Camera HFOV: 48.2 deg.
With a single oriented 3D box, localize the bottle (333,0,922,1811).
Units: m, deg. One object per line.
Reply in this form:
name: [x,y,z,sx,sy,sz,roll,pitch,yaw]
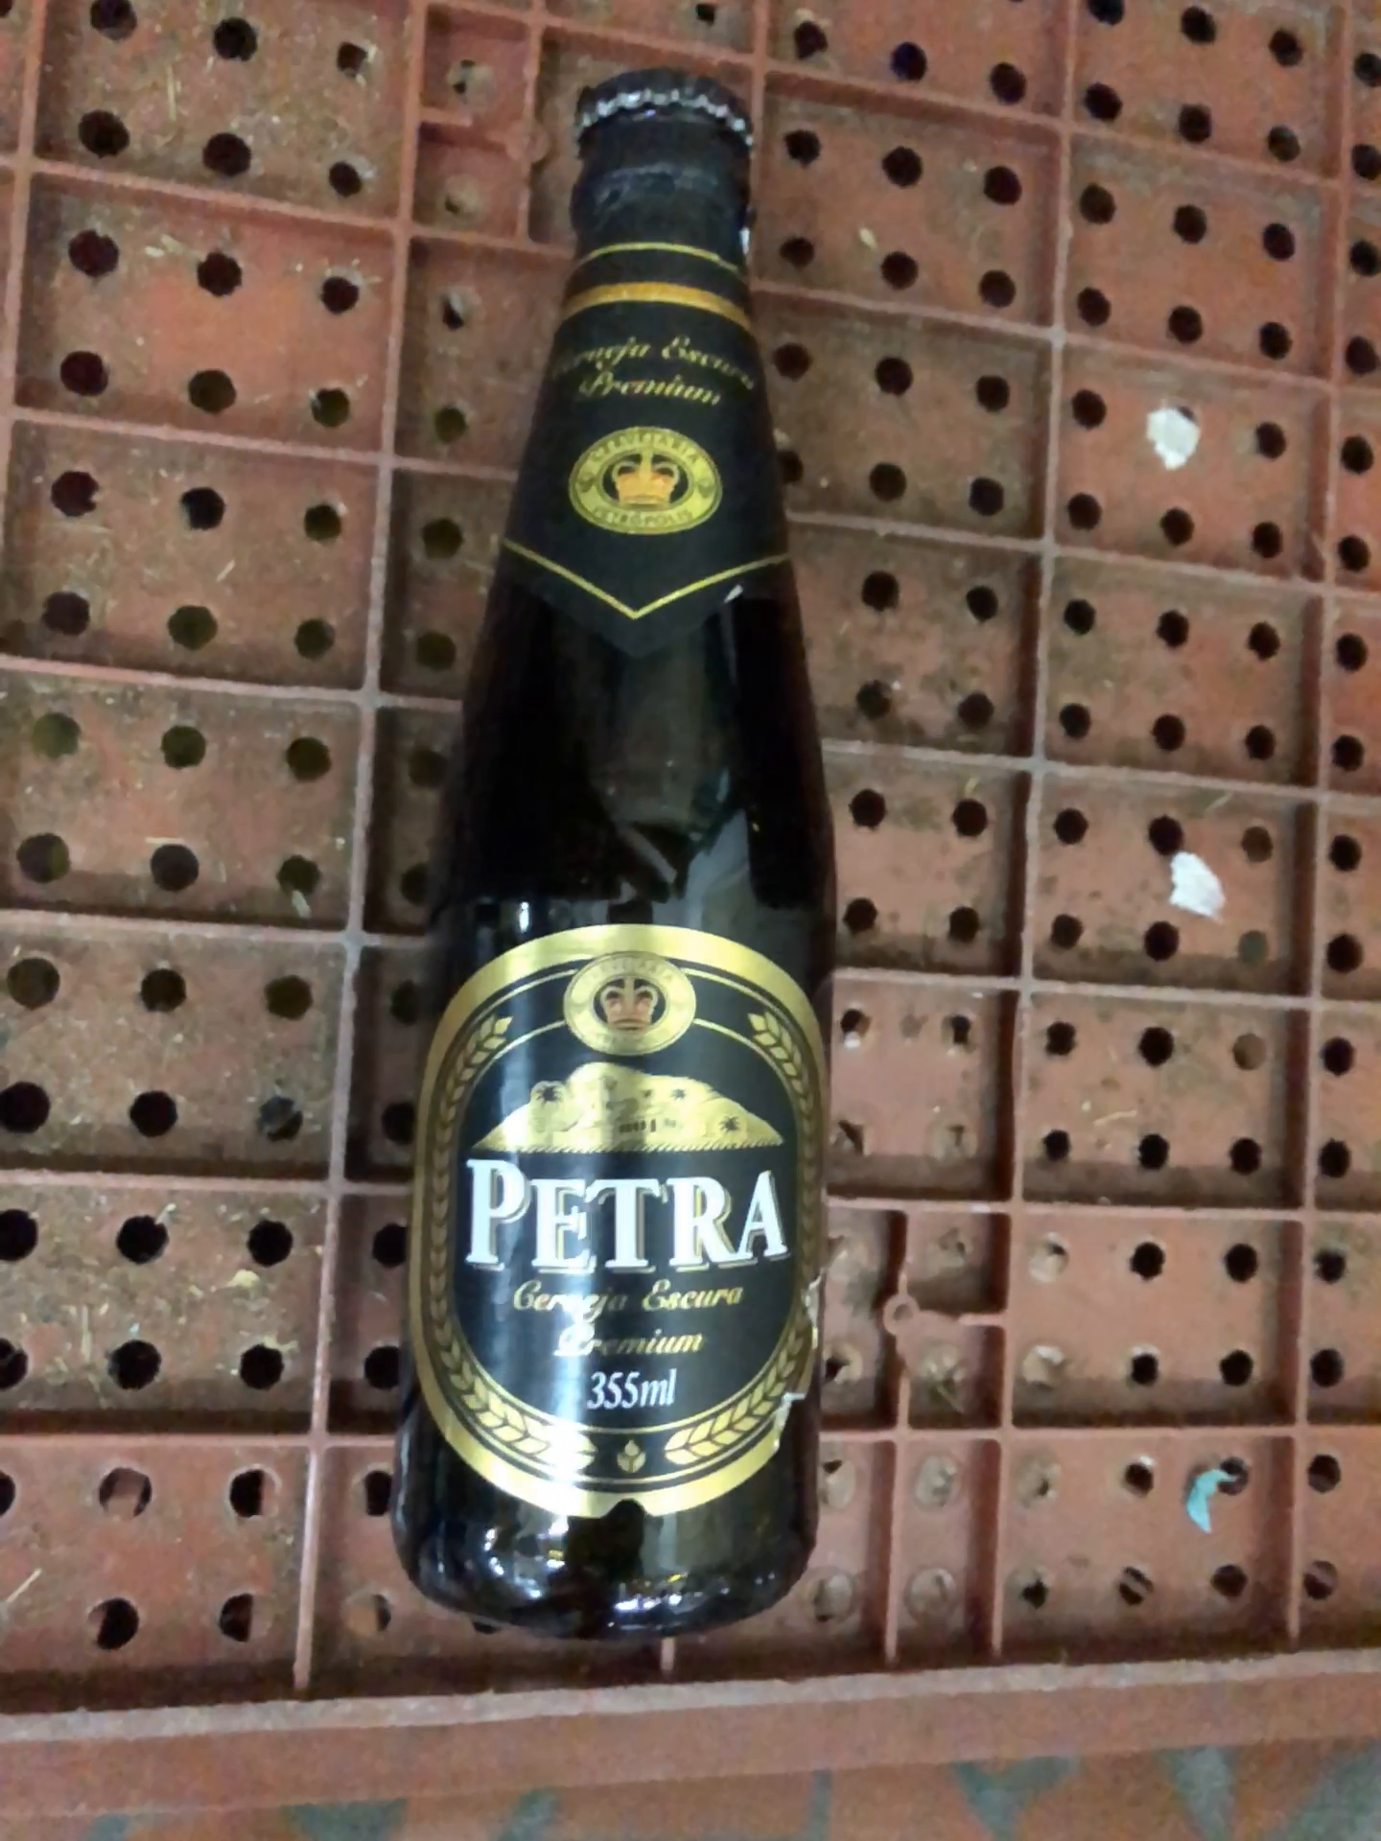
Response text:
bottle: [-0.011,-0.019,0.225,0.070,0.060,0.250,2,85,-14]
